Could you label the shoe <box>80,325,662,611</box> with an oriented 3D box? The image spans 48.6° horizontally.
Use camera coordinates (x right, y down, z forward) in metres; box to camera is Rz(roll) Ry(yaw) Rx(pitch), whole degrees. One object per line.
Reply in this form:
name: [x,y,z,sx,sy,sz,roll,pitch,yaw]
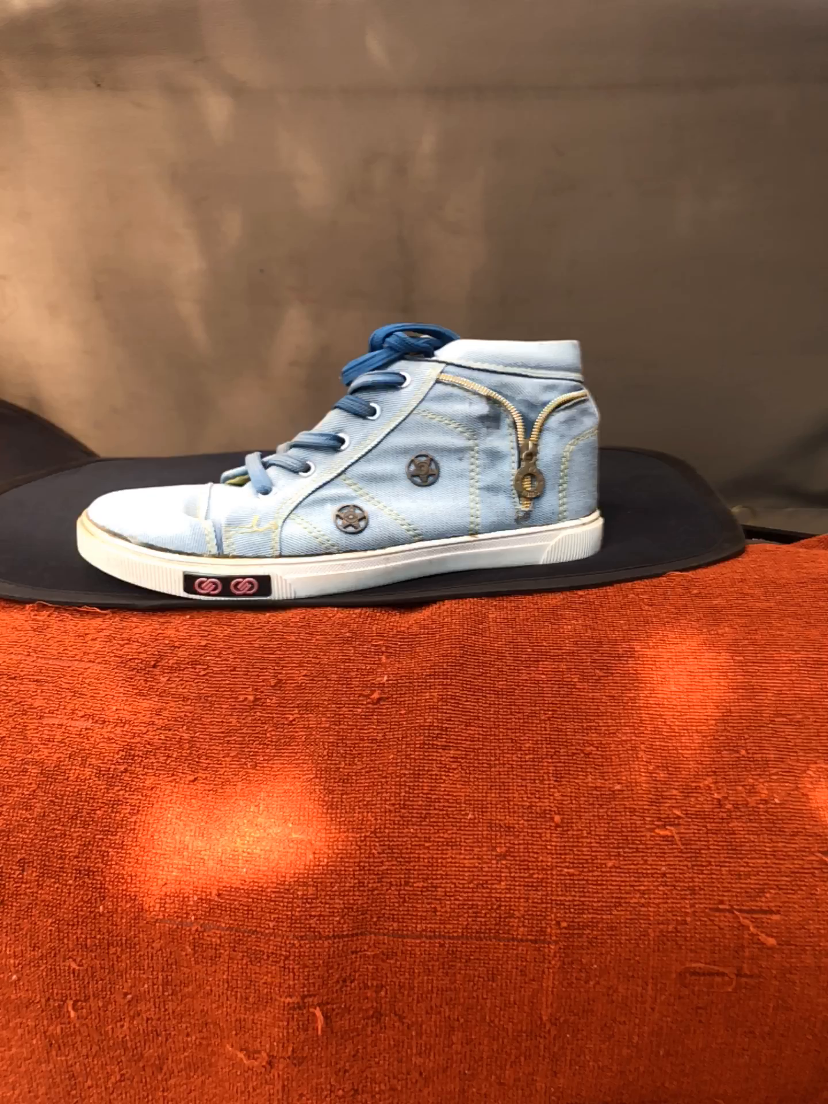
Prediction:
shoe: [-0.023,-0.053,0.471,0.260,0.110,0.110,-4,20,-13]
